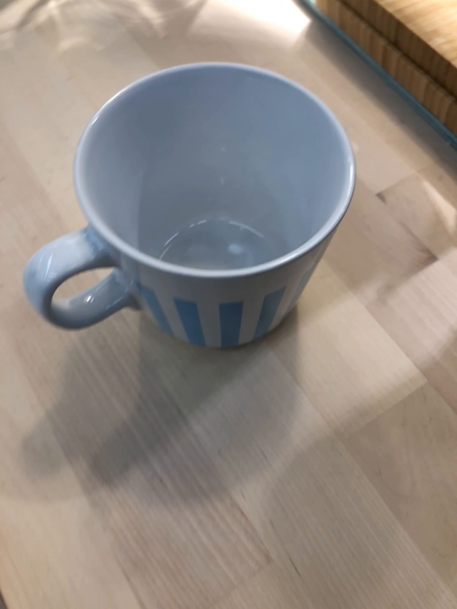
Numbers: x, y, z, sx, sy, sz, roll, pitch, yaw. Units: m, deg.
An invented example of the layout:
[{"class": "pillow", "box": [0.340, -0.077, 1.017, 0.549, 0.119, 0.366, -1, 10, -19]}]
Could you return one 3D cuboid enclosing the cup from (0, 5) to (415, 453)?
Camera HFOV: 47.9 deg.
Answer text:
[{"class": "cup", "box": [-0.021, -0.024, 0.178, 0.120, 0.080, 0.080, -30, 66, -15]}]
